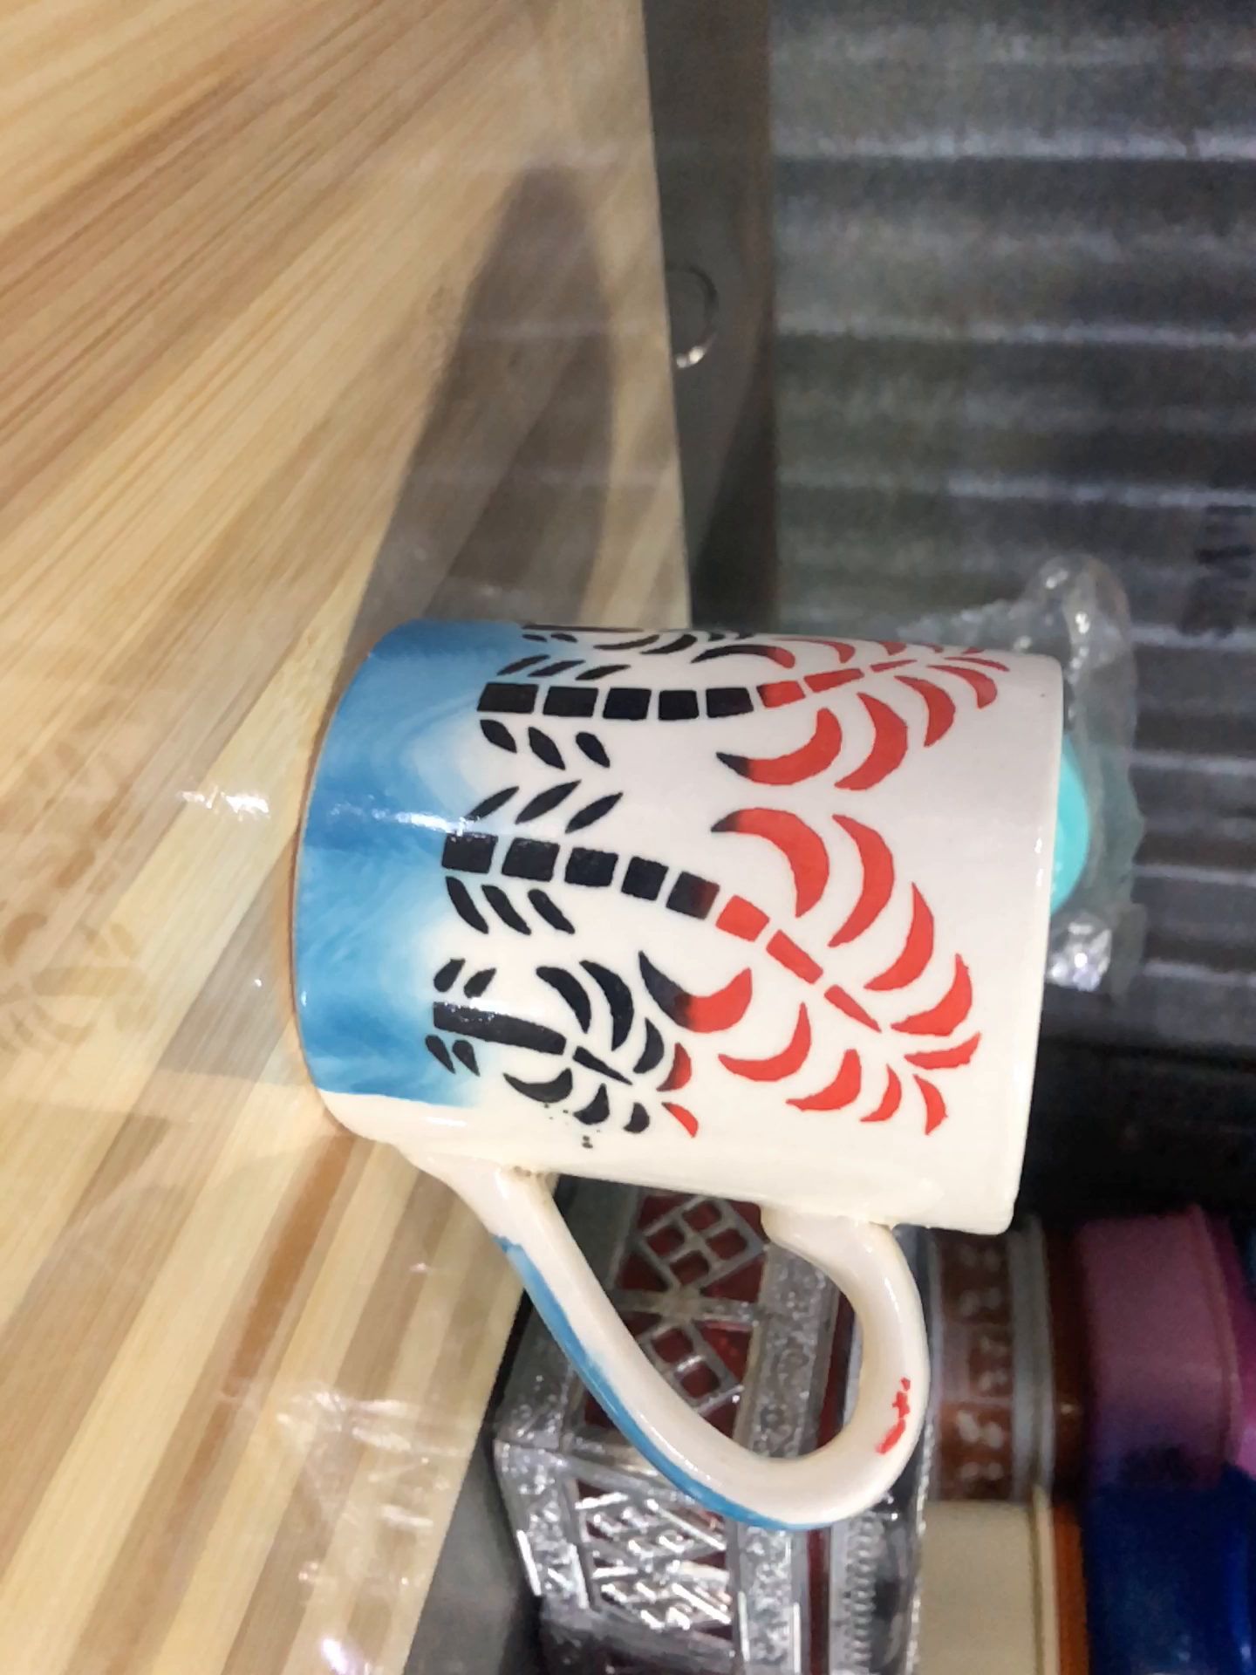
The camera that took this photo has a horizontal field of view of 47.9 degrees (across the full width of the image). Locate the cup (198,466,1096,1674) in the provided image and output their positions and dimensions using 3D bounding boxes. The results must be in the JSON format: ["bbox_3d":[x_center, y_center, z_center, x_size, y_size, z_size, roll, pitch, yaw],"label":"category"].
[{"bbox_3d":[0.012,0.028,0.191,0.100,0.080,0.120,34,61,-76],"label":"cup"}]
